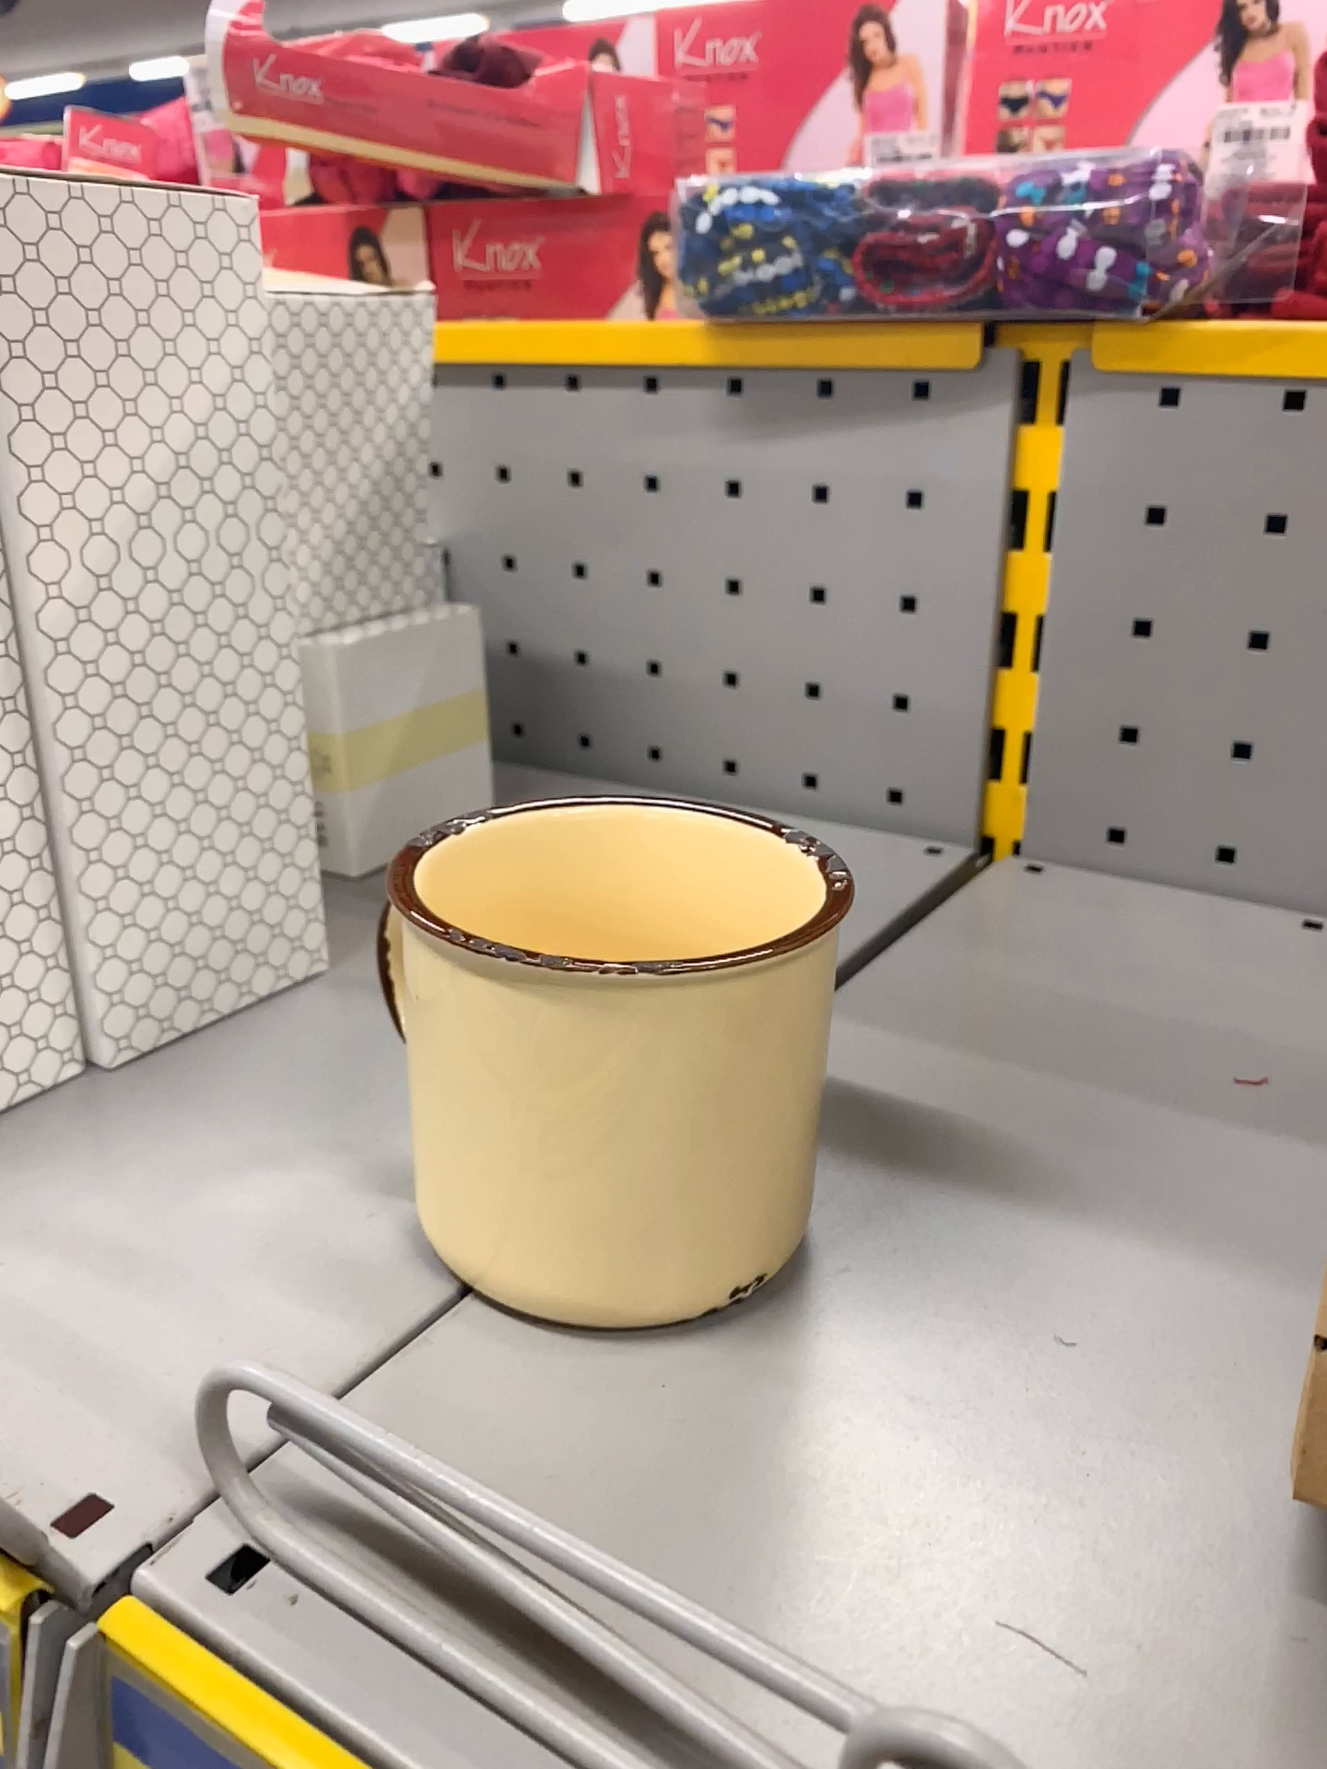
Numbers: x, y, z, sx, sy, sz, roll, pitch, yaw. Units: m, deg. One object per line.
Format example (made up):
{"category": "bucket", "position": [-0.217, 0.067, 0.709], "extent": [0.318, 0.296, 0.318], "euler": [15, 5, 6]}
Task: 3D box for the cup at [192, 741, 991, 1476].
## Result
{"category": "cup", "position": [-0.014, 0.030, 0.272], "extent": [0.120, 0.080, 0.090], "euler": [16, 27, 35]}
